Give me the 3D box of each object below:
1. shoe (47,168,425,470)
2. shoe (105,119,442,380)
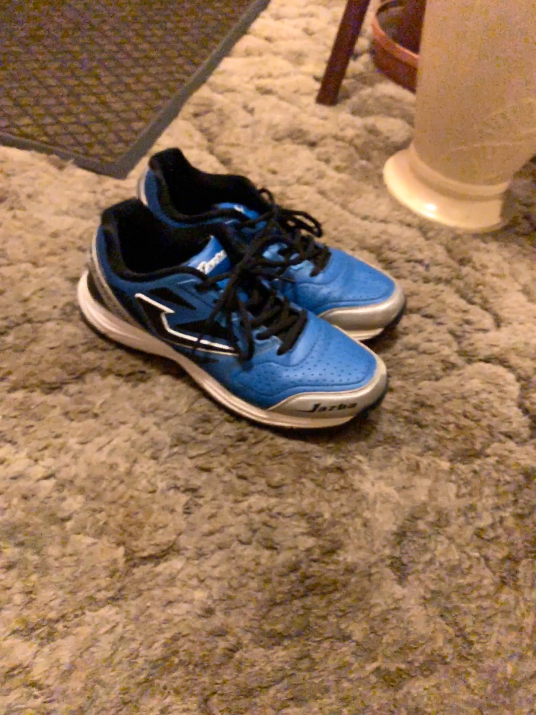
[{"bbox_3d":[-0.032,-0.036,0.476,0.280,0.119,0.101,26,51,11],"label":"shoe"},{"bbox_3d":[0.000,-0.102,0.516,0.270,0.119,0.101,22,50,8],"label":"shoe"}]
